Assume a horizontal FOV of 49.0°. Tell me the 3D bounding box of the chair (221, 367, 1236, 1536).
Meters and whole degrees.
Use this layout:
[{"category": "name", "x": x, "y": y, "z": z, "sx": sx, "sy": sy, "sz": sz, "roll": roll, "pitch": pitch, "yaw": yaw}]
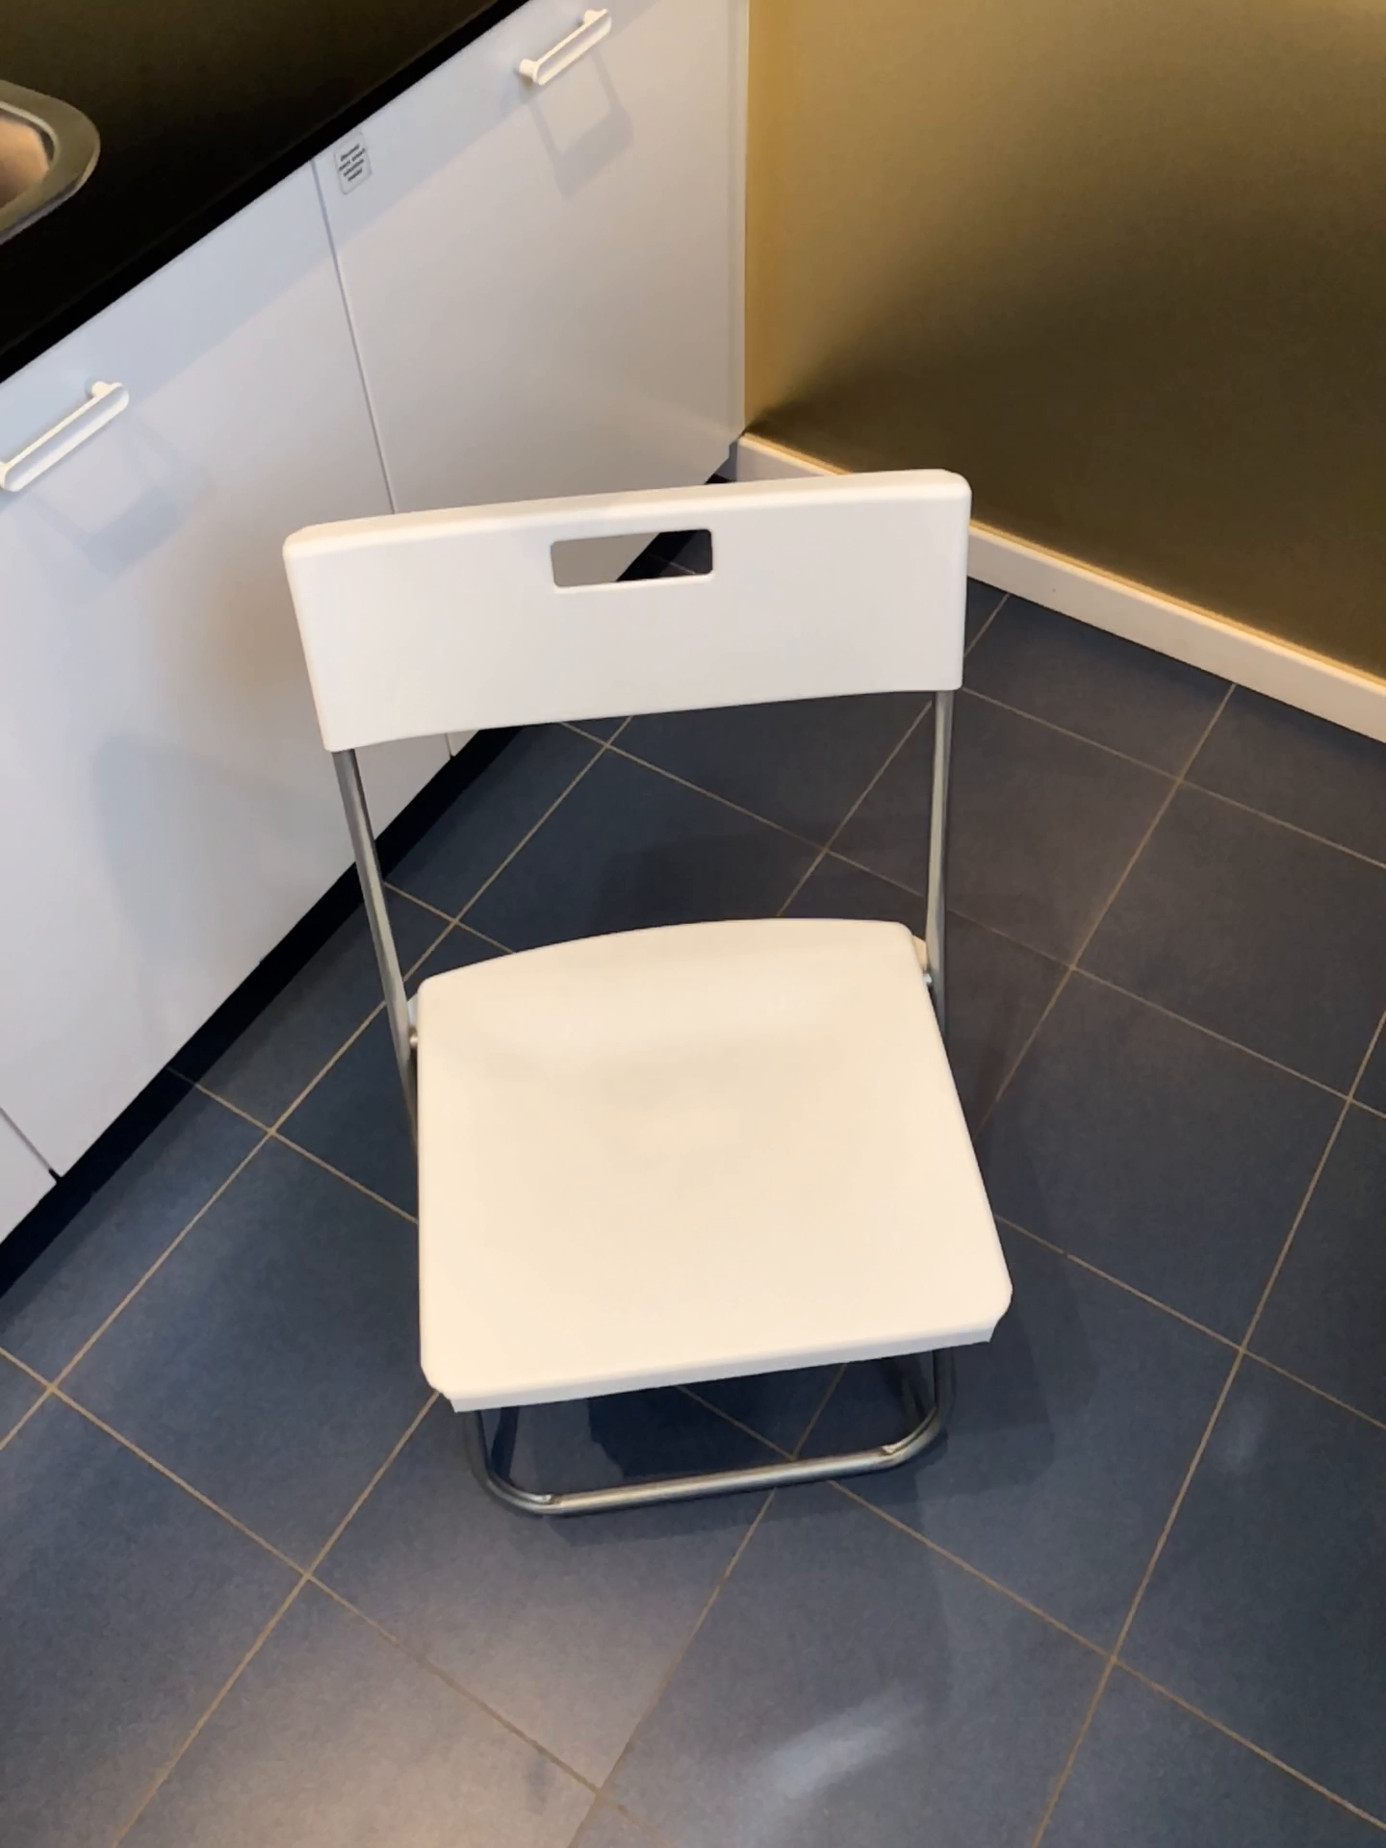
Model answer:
[{"category": "chair", "x": -0.006, "y": 0.083, "z": 1.195, "sx": 0.490, "sy": 0.776, "sz": 0.523, "roll": -7, "pitch": 56, "yaw": -3}]
